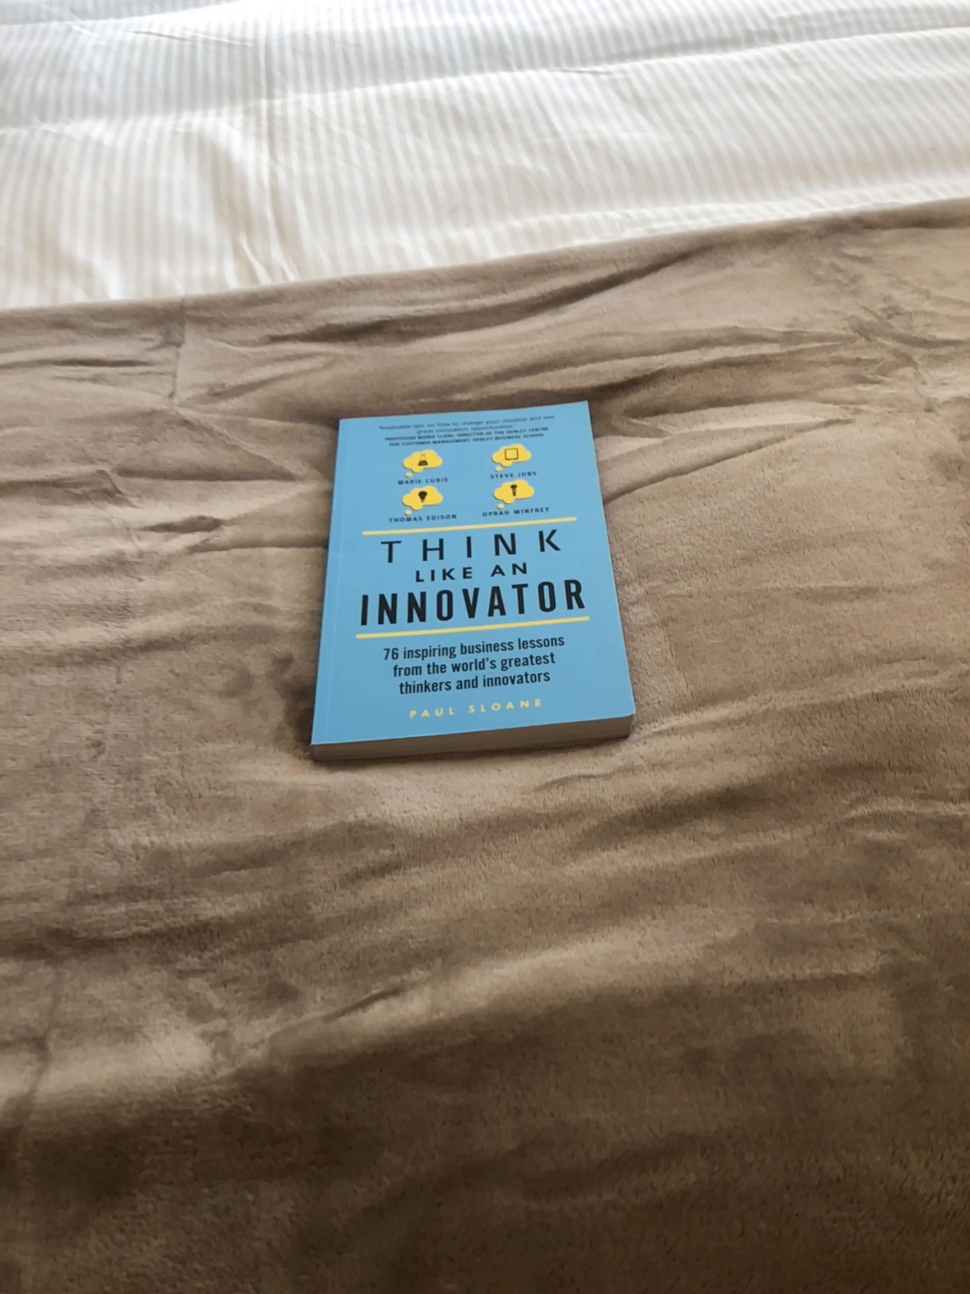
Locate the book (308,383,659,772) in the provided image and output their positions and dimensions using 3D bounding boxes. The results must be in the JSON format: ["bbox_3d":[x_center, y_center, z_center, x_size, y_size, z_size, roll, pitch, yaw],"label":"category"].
[{"bbox_3d":[-0.004,-0.044,0.504,0.140,0.020,0.221,-5,48,3],"label":"book"}]
